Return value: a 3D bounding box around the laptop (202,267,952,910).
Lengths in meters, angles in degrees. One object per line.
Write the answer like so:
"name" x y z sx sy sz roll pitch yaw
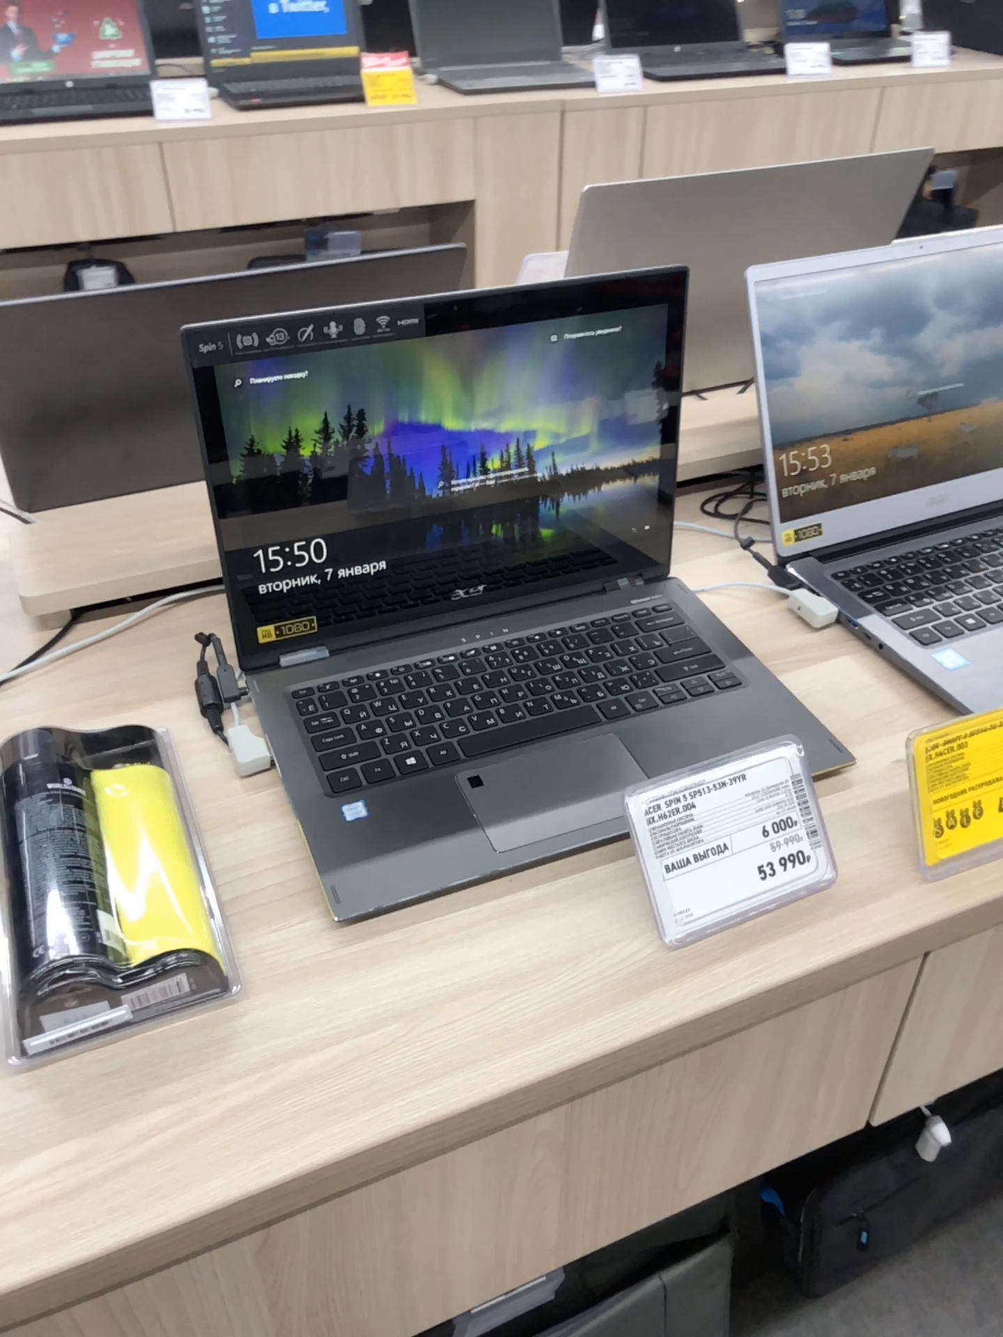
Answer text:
"laptop" 0.025 -0.069 0.635 0.315 0.215 0.246 -13 39 -19

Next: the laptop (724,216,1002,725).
"laptop" 0.375 -0.158 0.767 0.270 0.196 0.299 -16 40 -19
